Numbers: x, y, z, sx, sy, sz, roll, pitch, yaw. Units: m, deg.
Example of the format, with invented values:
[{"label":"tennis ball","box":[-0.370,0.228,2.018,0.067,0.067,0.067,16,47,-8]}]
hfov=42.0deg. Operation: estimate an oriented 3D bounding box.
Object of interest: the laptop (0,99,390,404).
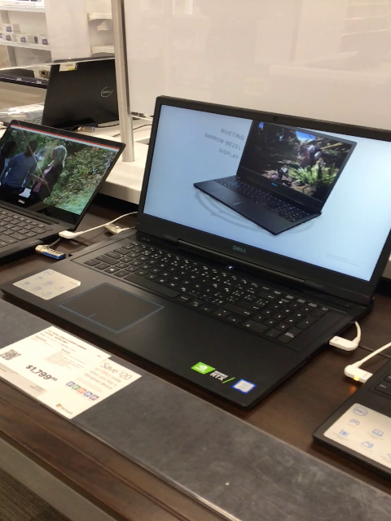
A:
[{"label":"laptop","box":[0.003,-0.051,0.666,0.409,0.224,0.320,22,38,31]}]
